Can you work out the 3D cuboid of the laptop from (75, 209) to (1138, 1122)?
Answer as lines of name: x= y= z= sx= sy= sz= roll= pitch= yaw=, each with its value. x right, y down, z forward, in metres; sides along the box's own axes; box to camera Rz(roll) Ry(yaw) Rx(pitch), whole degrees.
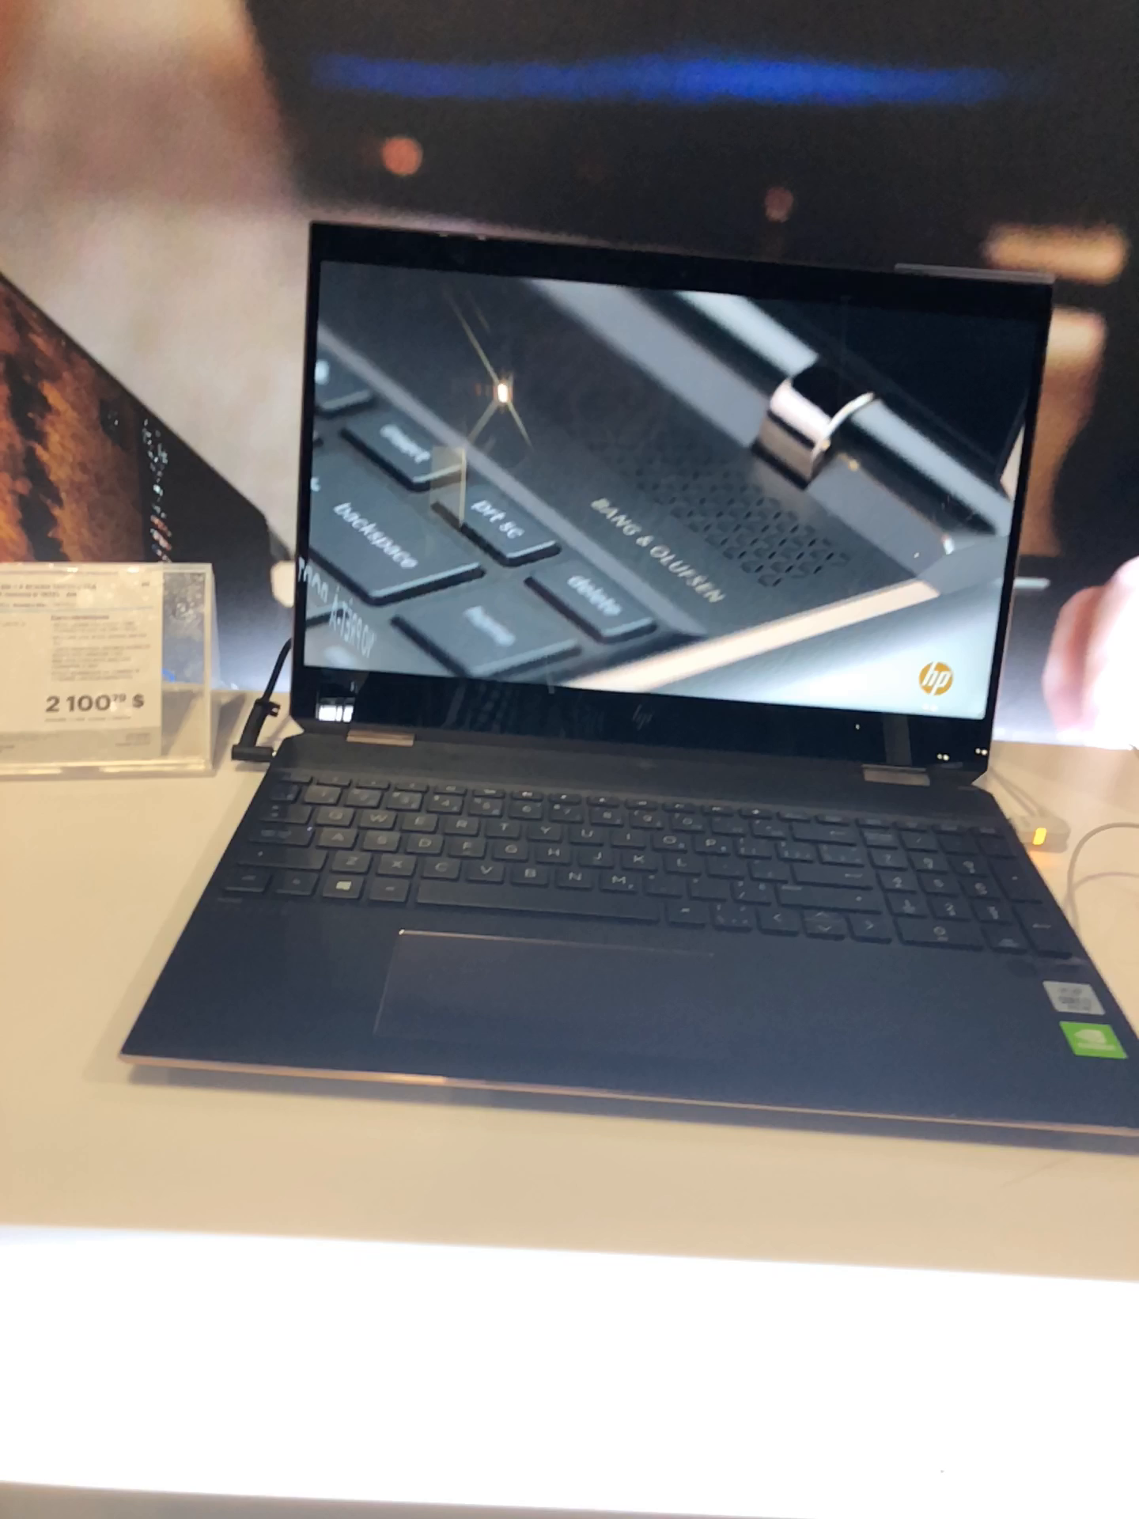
laptop: x=0.042 y=-0.068 z=0.490 sx=0.332 sy=0.226 sz=0.323 roll=5 pitch=25 yaw=-4
